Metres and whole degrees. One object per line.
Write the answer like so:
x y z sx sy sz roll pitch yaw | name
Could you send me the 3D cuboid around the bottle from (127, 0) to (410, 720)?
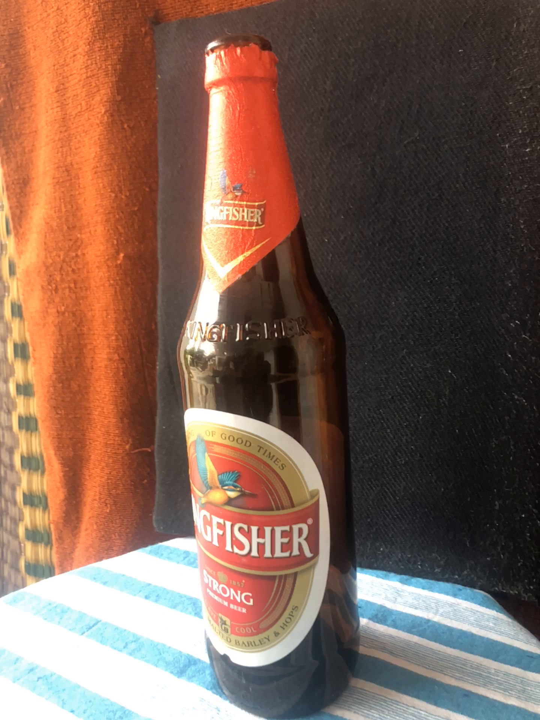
0.007 0.007 0.257 0.080 0.289 0.070 7 16 36 | bottle
